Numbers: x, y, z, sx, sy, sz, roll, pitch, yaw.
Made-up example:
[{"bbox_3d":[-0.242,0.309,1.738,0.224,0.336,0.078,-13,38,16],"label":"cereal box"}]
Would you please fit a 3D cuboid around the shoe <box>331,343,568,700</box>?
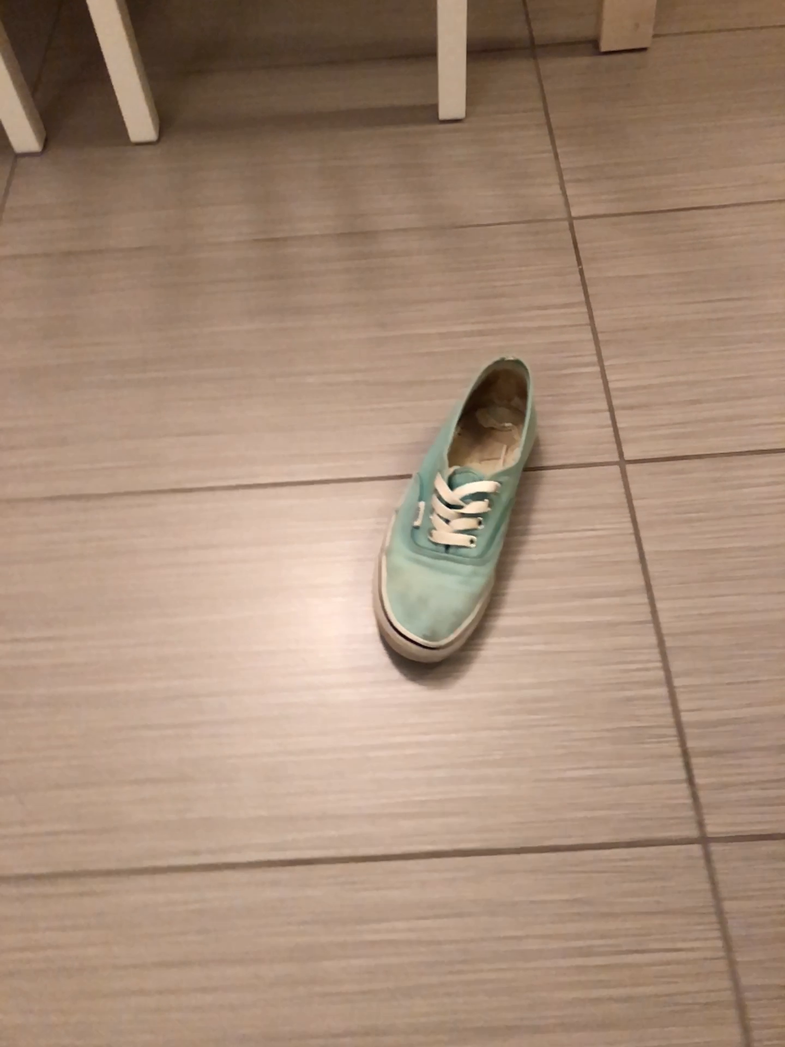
[{"bbox_3d":[0.052,-0.009,0.669,0.090,0.080,0.261,17,62,14],"label":"shoe"}]
